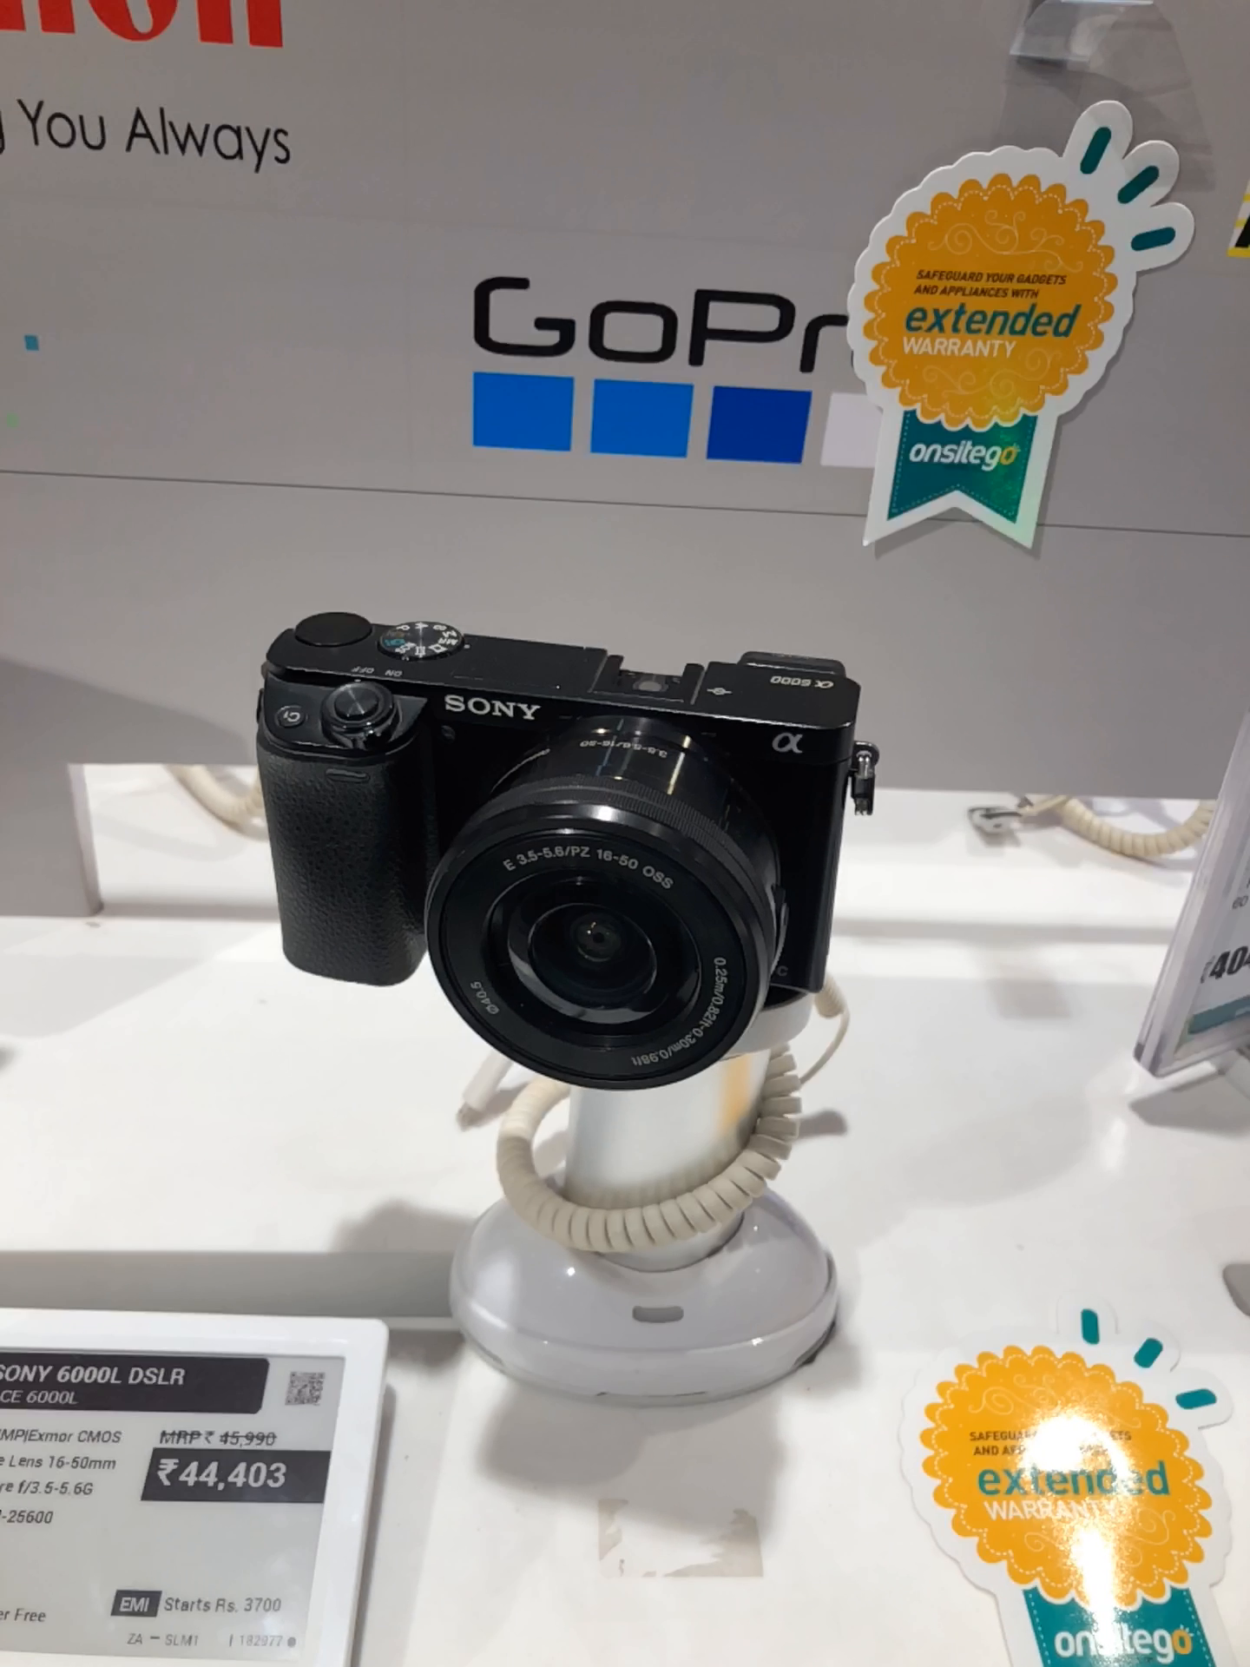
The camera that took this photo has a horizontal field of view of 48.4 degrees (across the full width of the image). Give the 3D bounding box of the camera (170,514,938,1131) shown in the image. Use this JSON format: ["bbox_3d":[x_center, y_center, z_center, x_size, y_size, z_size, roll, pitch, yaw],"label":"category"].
[{"bbox_3d":[-0.009,-0.005,0.239,0.110,0.070,0.060,8,33,6],"label":"camera"}]
